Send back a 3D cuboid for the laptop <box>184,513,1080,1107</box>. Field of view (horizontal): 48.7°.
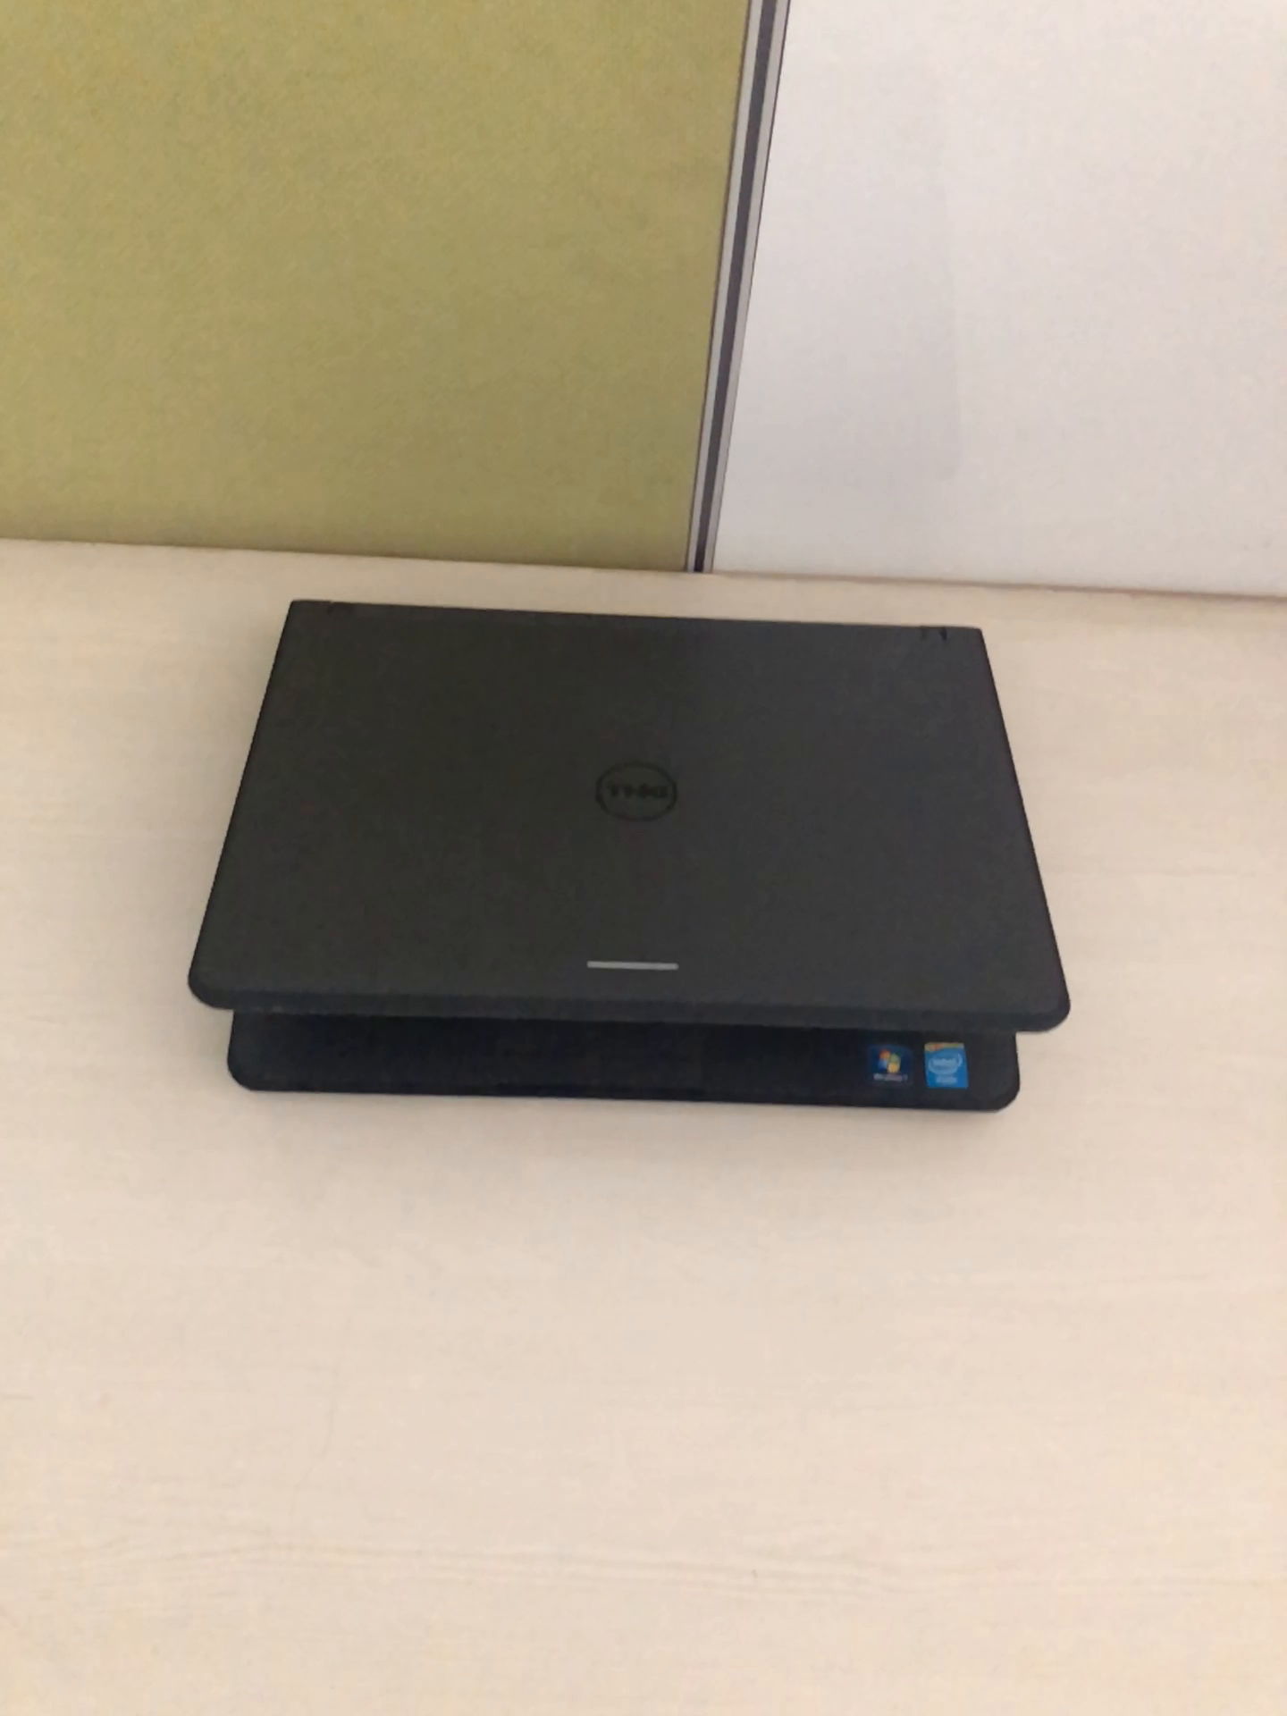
[{"bbox_3d":[-0.002,-0.023,0.595,0.322,0.073,0.229,2,63,-1],"label":"laptop"}]
